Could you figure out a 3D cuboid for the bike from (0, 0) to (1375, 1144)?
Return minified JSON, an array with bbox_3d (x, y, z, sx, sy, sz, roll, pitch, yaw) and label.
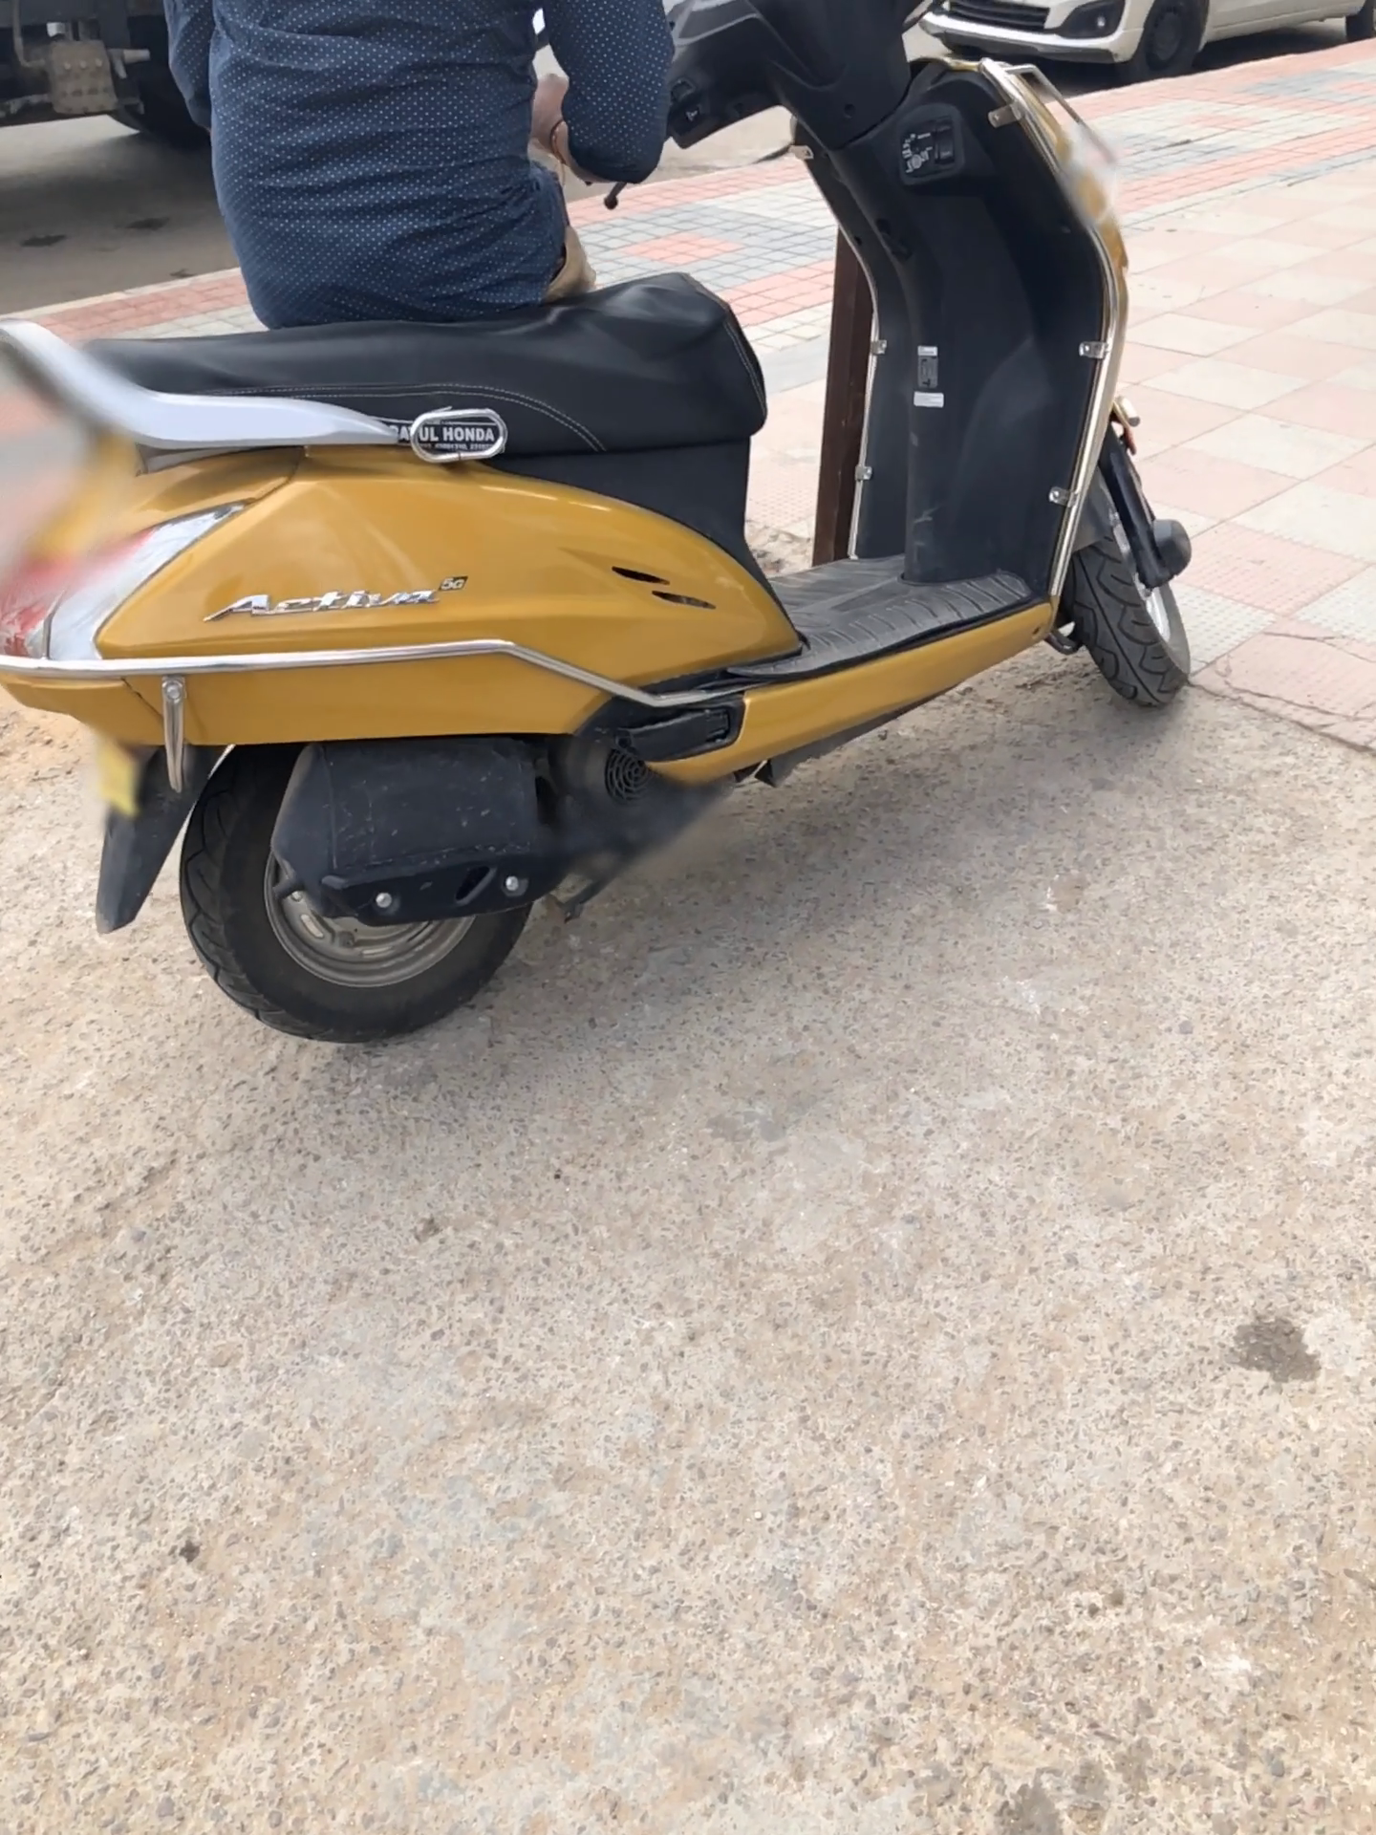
[{"bbox_3d":[-0.012,-0.706,1.843,1.532,1.153,0.586,-29,46,-28],"label":"bike"}]
